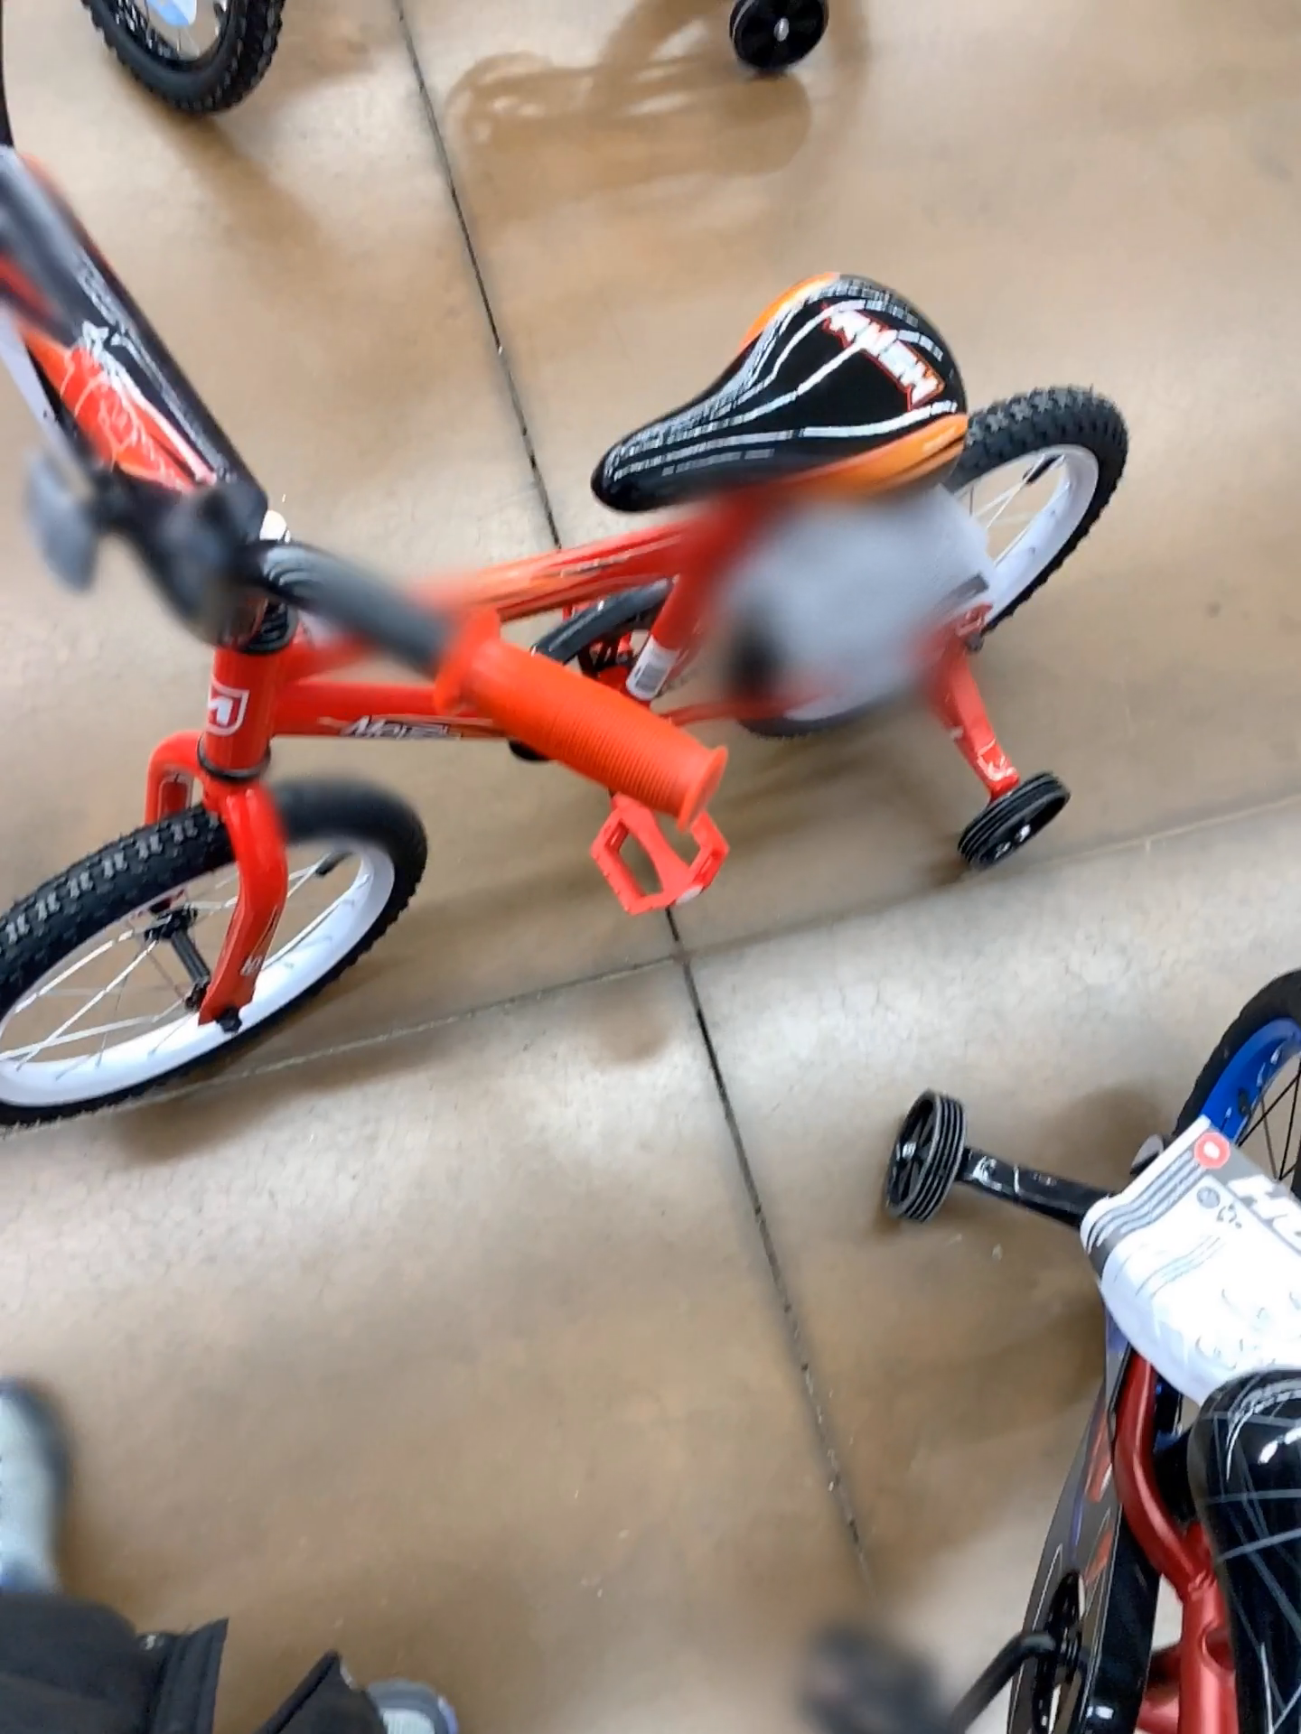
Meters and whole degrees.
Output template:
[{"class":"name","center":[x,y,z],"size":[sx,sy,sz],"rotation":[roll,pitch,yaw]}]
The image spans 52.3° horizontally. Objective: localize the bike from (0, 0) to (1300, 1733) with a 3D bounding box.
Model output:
[{"class":"bike","center":[-0.010,-0.142,0.880],"size":[1.069,0.852,0.585],"rotation":[-29,73,-14]}]
